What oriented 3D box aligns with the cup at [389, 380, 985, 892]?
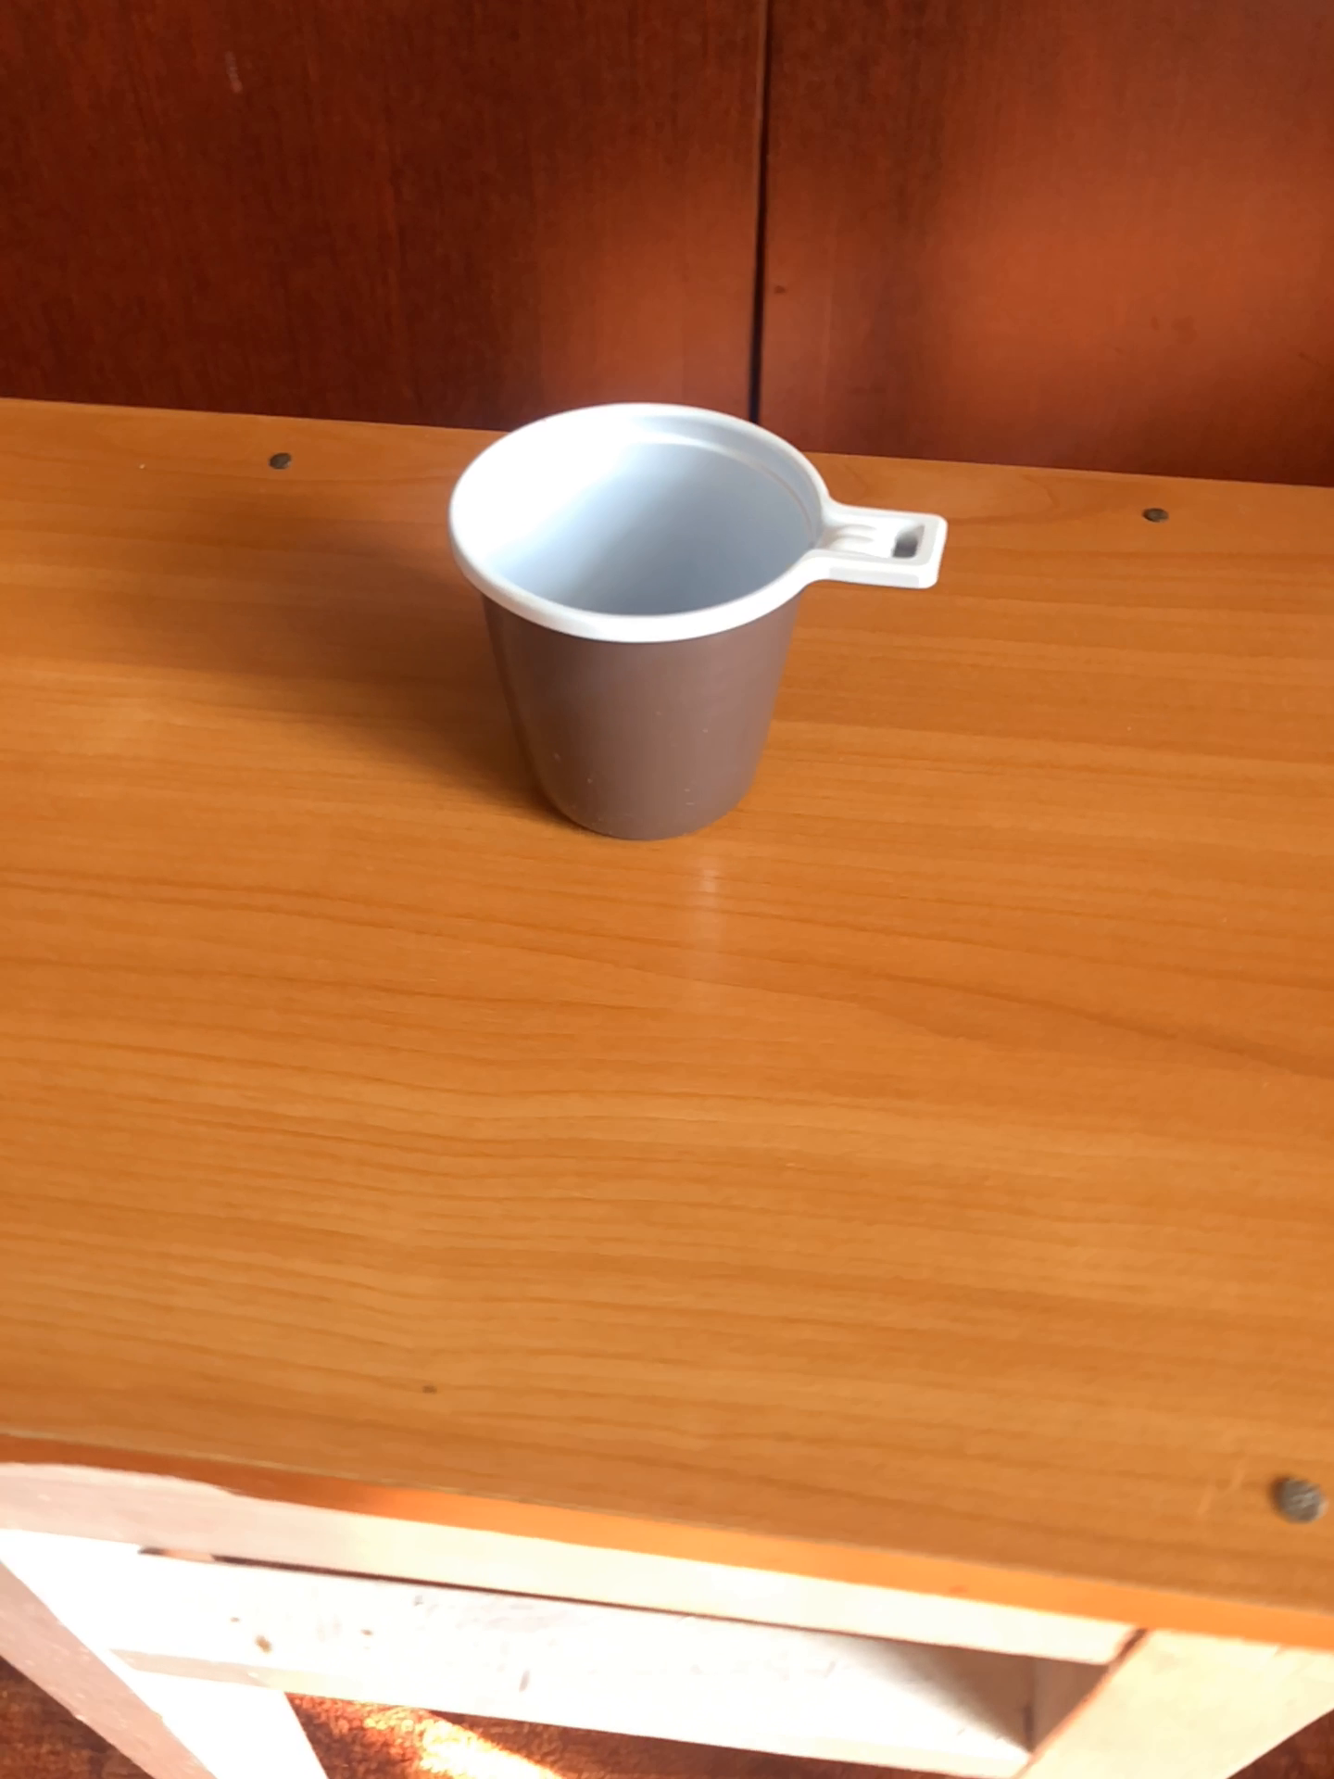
[{"bbox_3d":[0.007,-0.054,0.305,0.100,0.060,0.070,11,48,10],"label":"cup"}]
